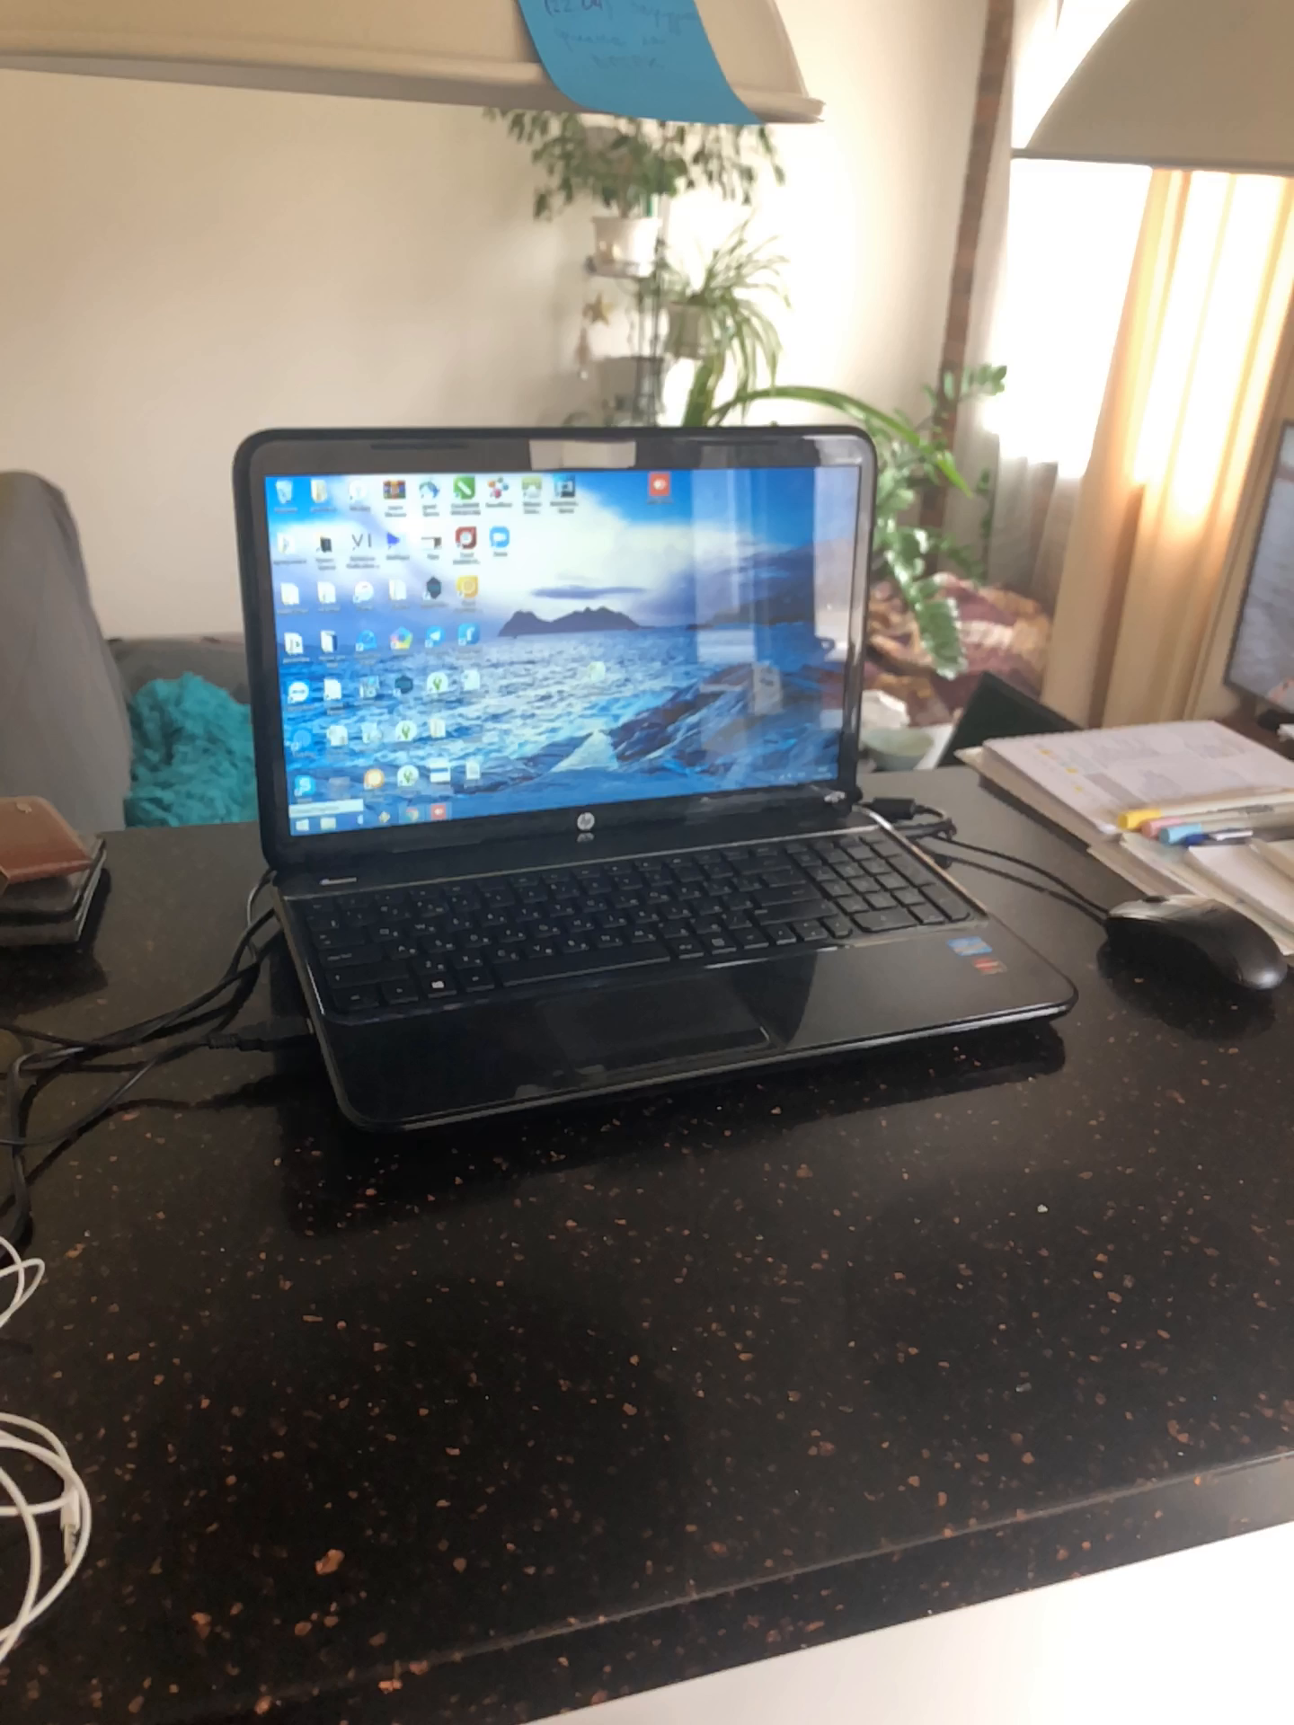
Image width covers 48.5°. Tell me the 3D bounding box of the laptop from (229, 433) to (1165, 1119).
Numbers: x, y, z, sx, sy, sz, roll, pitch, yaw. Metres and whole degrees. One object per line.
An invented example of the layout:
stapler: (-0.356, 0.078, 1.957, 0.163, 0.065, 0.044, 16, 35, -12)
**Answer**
laptop: (0.004, -0.074, 0.714, 0.361, 0.217, 0.268, -7, 28, -21)
